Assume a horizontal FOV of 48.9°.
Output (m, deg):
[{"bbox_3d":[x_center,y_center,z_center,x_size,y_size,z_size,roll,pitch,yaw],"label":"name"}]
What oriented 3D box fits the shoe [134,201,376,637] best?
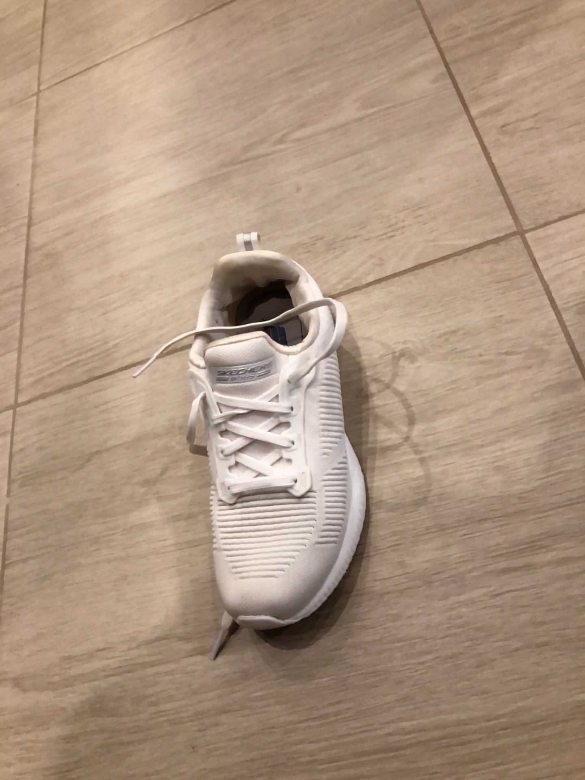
[{"bbox_3d":[-0.015,0.023,0.396,0.090,0.119,0.231,-10,63,18],"label":"shoe"}]
